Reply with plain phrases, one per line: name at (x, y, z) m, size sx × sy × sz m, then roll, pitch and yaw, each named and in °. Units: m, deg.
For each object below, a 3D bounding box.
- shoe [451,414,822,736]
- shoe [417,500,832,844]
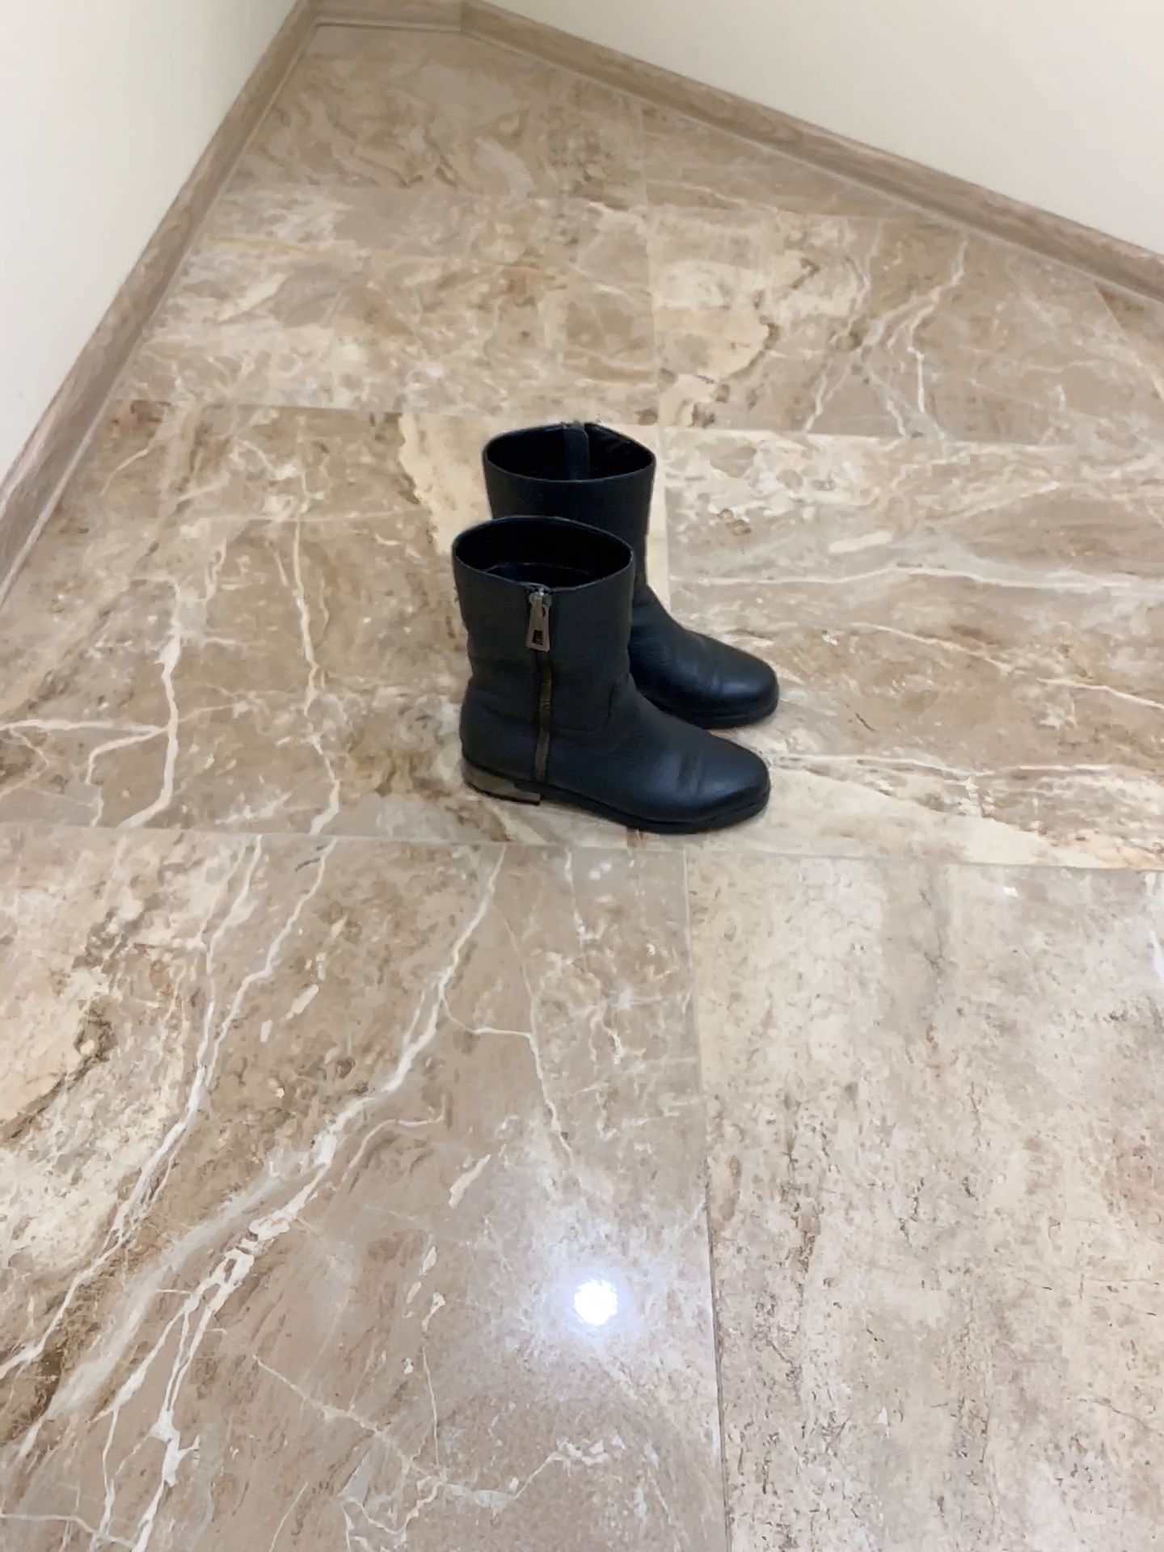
shoe at (0.036, -0.152, 0.943) m, size 0.260 × 0.209 × 0.090 m, roll 7°, pitch 46°, yaw 2°
shoe at (0.024, -0.068, 0.855) m, size 0.260 × 0.209 × 0.090 m, roll 6°, pitch 46°, yaw 2°
